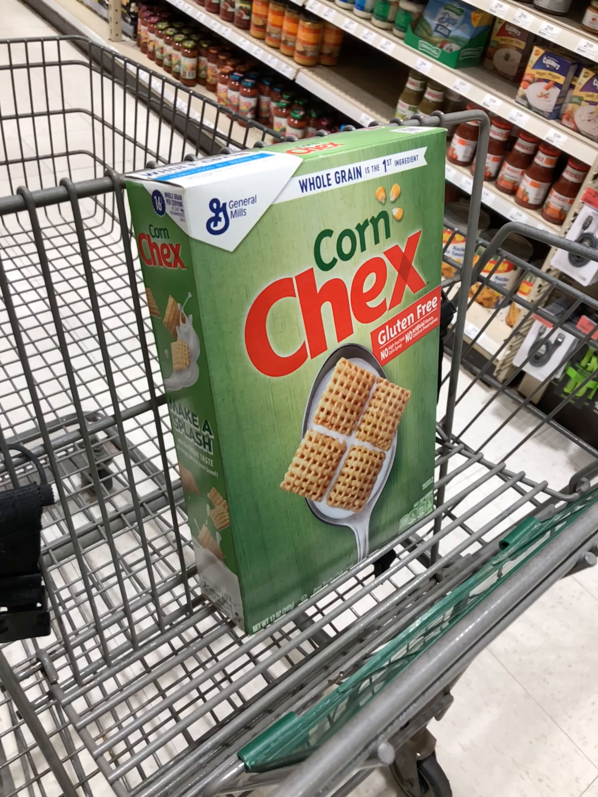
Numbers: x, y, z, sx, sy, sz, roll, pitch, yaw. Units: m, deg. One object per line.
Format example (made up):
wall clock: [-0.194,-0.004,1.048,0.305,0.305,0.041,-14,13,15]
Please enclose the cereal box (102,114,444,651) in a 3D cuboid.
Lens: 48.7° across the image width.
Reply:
cereal box: [0.006,-0.012,0.446,0.200,0.310,0.060,-25,33,-33]
